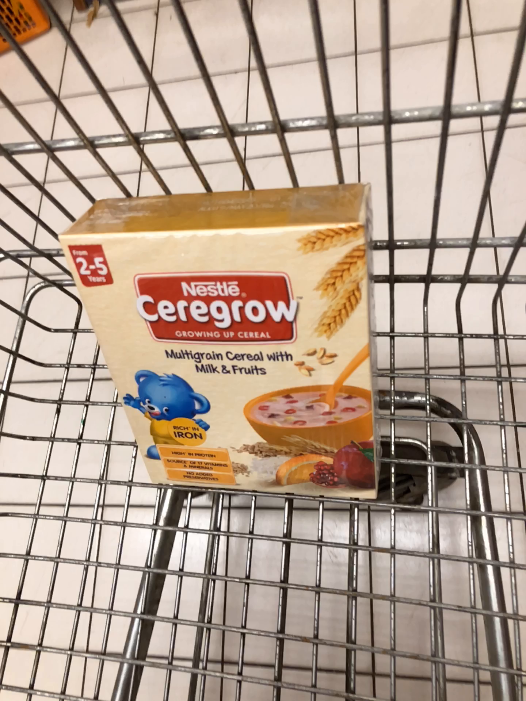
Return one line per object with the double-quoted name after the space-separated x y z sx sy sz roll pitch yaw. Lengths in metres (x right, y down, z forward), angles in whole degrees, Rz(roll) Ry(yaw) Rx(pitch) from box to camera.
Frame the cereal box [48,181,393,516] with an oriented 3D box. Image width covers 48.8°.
-0.008 0.009 0.333 0.160 0.189 0.050 1 37 14 "cereal box"
